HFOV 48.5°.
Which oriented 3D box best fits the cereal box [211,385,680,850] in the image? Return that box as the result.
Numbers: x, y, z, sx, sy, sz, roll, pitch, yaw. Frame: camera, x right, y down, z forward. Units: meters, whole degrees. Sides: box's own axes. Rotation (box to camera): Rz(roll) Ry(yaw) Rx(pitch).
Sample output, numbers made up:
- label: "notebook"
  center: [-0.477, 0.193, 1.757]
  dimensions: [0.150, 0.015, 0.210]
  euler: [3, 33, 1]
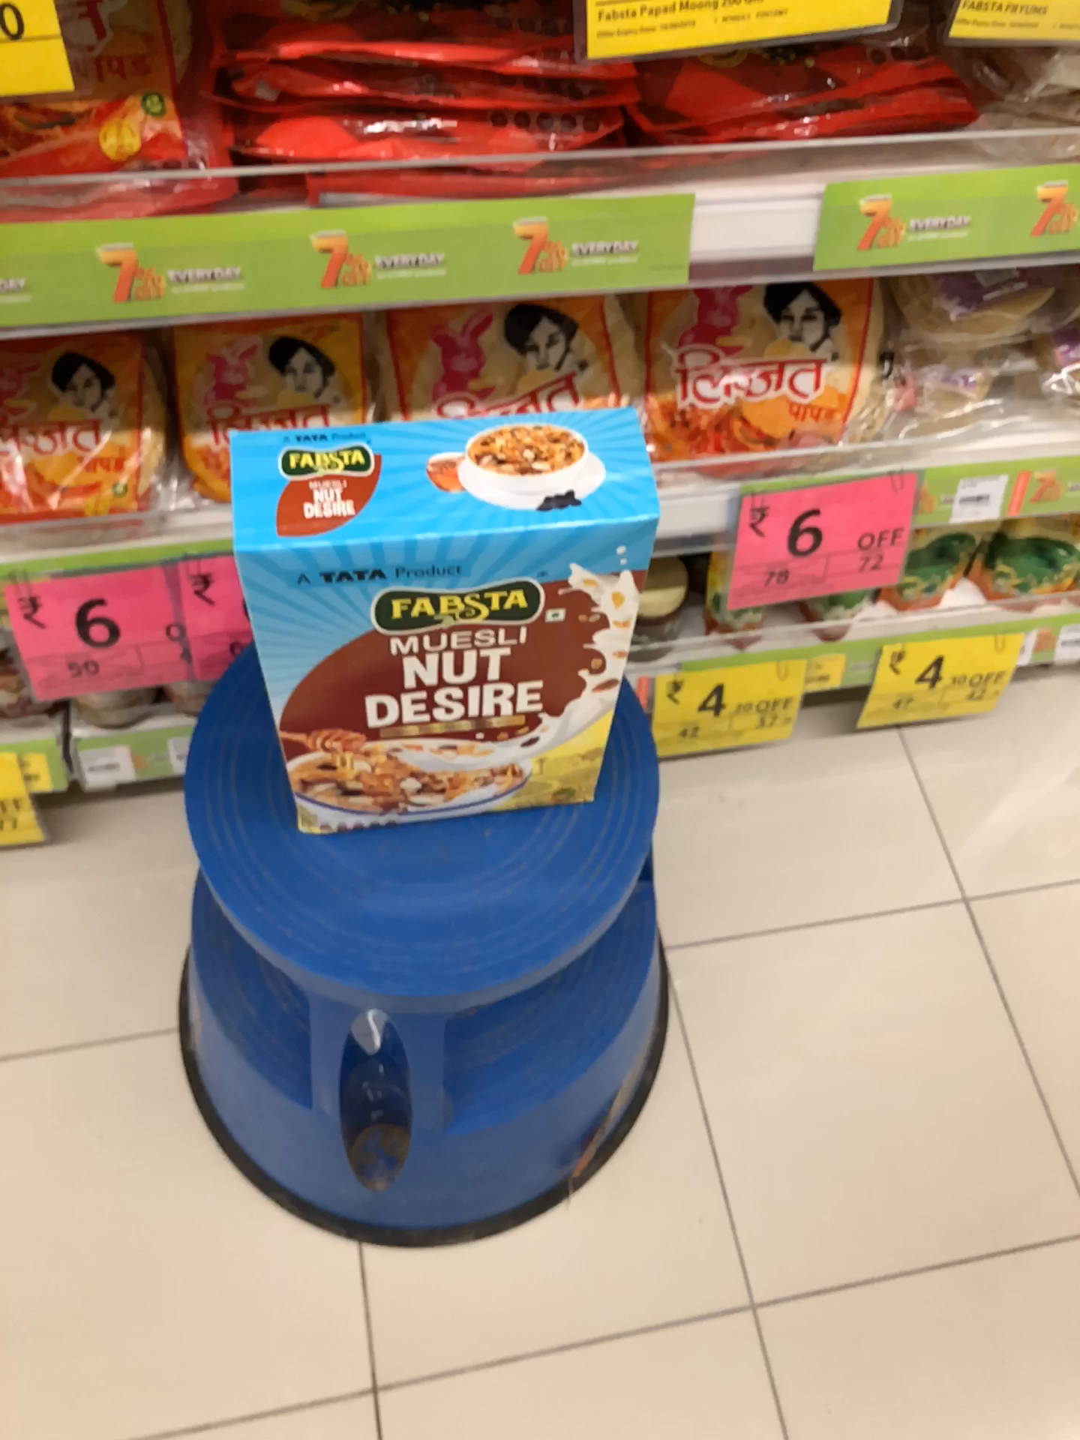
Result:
- label: "cereal box"
  center: [-0.046, -0.033, 0.562]
  dimensions: [0.170, 0.249, 0.070]
  euler: [-7, 60, -9]
